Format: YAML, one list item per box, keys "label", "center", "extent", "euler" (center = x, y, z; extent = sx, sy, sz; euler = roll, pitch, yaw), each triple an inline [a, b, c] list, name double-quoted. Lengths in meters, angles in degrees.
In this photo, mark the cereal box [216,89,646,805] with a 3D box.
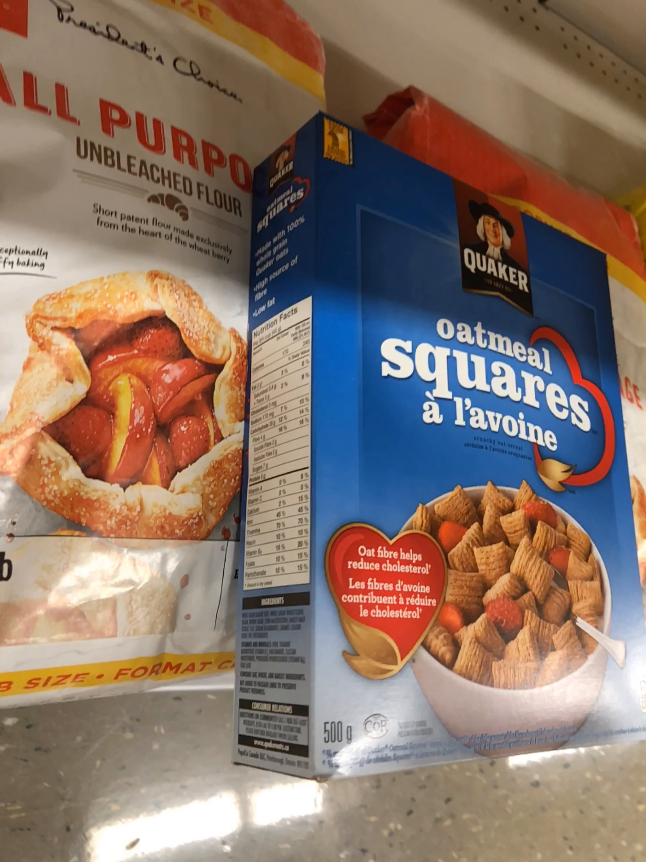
- label: "cereal box"
  center: [0.063, 0.011, 0.350]
  extent: [0.211, 0.060, 0.280]
  euler: [13, 68, -33]
